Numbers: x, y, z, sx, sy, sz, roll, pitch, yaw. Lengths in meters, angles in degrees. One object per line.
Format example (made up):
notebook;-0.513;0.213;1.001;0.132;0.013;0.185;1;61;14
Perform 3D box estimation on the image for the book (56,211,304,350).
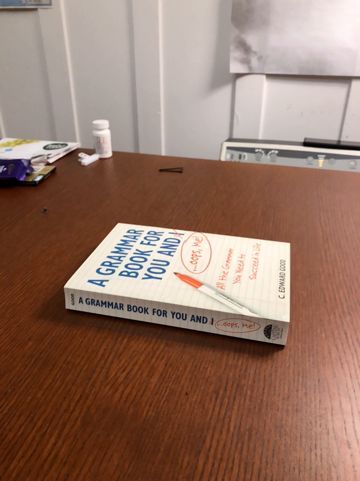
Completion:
book;0.012;0.031;0.458;0.240;0.040;0.171;7;29;11
